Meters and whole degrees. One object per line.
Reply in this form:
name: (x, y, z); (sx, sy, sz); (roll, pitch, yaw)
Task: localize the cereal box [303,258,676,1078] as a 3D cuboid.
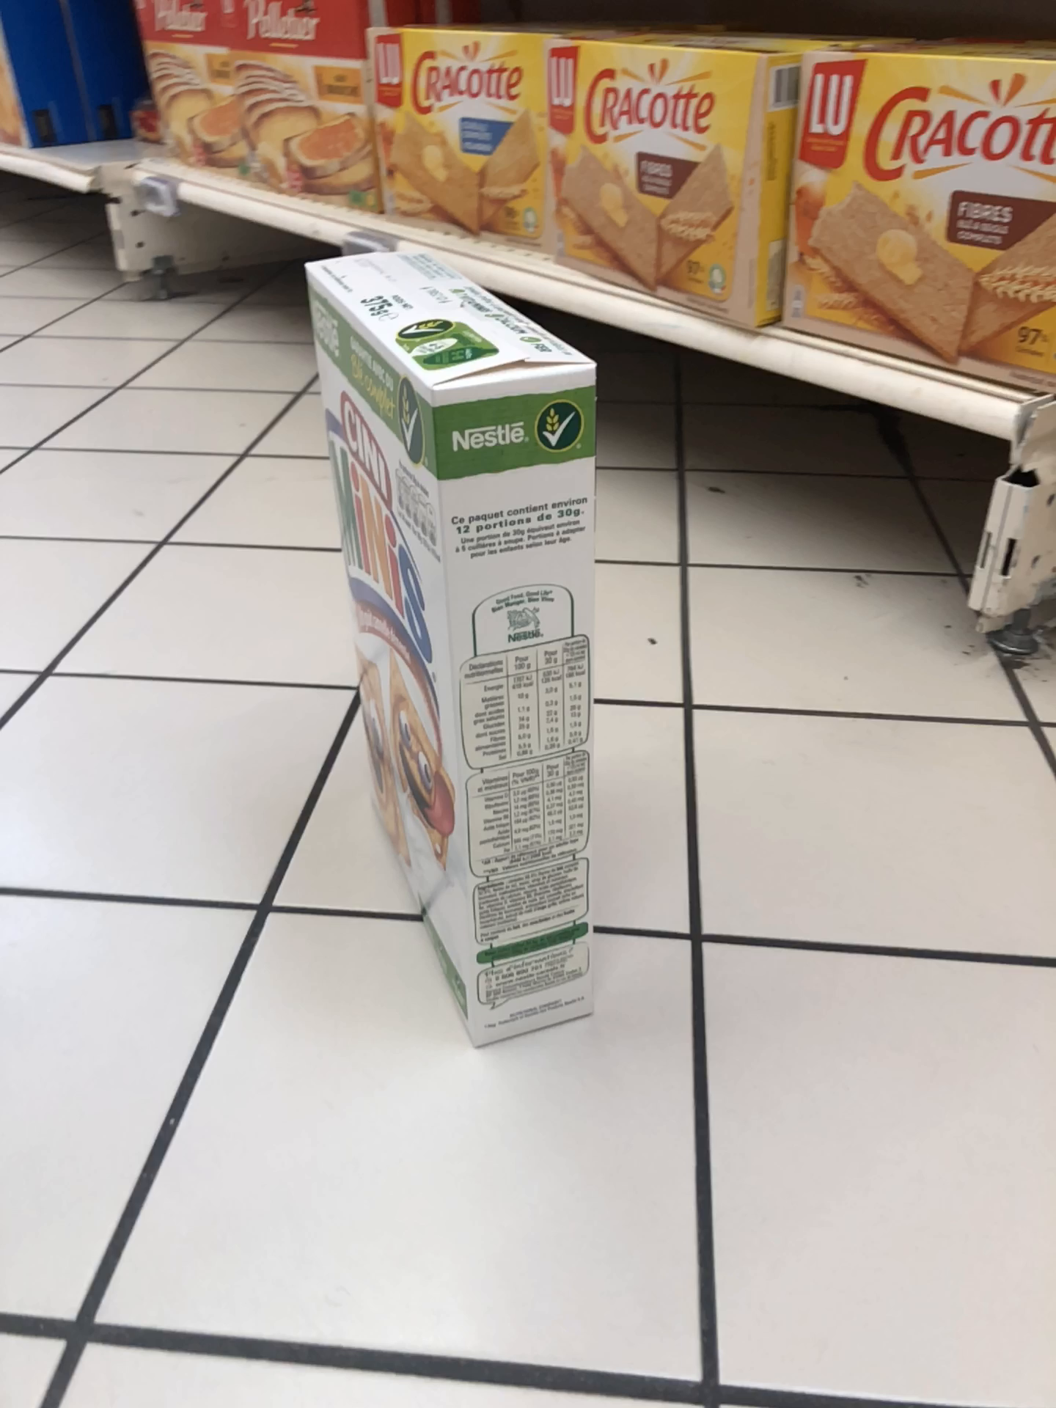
cereal box: (-0.025, -0.023, 0.479); (0.070, 0.268, 0.201); (-11, 33, -18)
